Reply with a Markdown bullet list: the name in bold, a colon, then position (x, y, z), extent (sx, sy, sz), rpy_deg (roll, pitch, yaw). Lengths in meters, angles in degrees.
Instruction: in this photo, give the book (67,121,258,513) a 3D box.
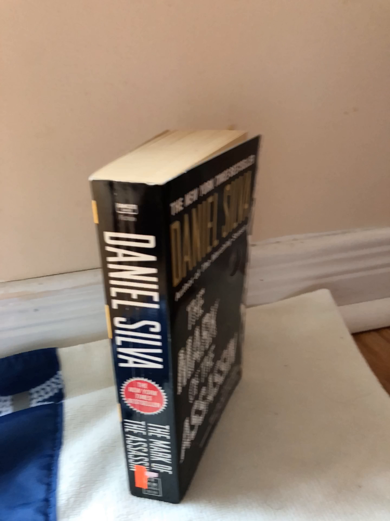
- **book**: position (-0.003, 0.021, 0.238), extent (0.045, 0.169, 0.119), rpy_deg (7, 27, 19)
